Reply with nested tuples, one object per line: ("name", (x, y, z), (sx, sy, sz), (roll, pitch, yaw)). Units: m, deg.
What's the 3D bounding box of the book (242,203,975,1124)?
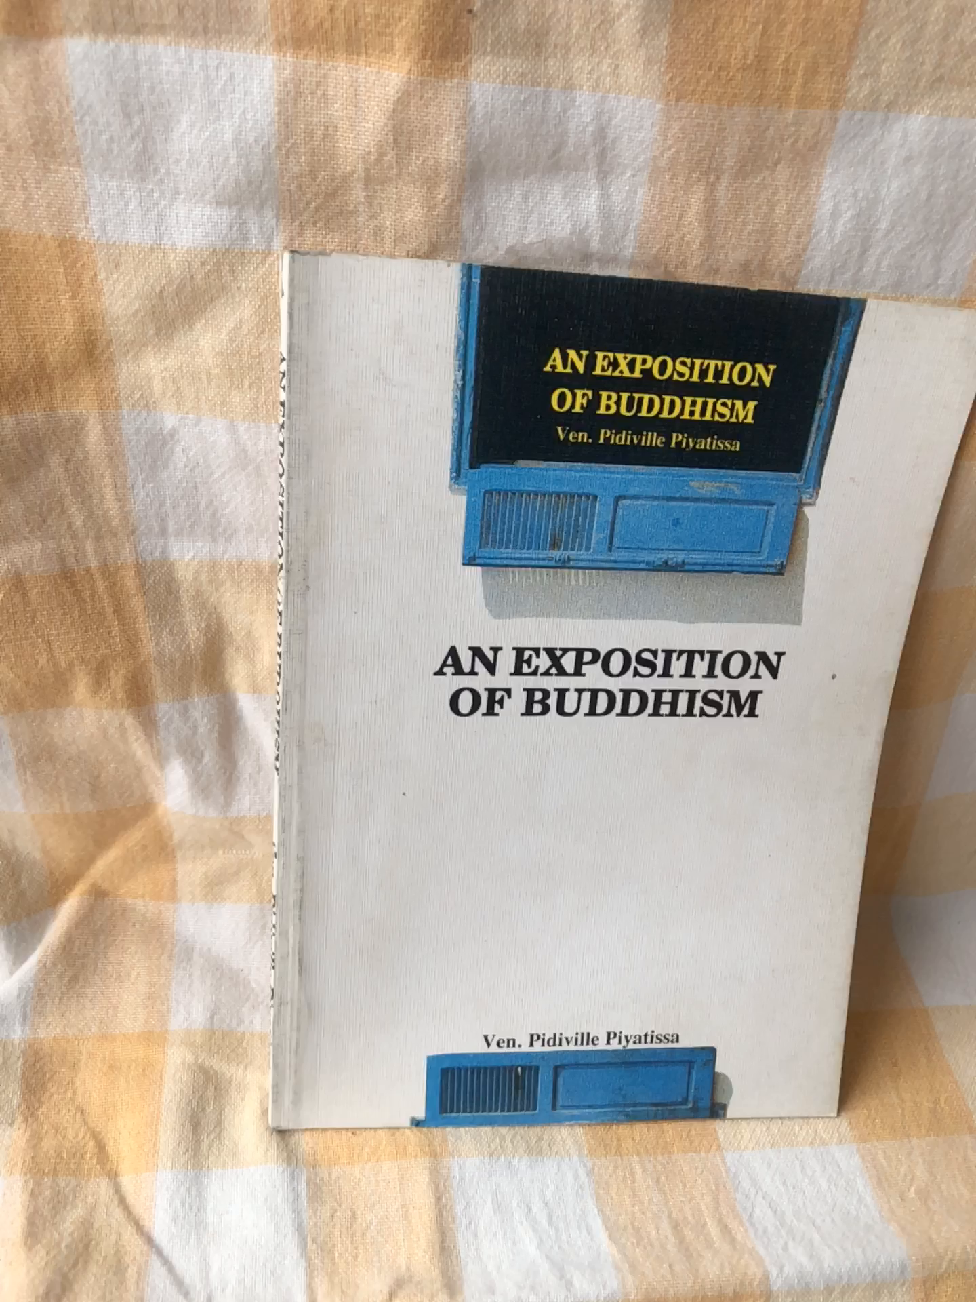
("book", (0.019, 0.015, 0.239), (0.140, 0.199, 0.020), (2, 19, -7))
